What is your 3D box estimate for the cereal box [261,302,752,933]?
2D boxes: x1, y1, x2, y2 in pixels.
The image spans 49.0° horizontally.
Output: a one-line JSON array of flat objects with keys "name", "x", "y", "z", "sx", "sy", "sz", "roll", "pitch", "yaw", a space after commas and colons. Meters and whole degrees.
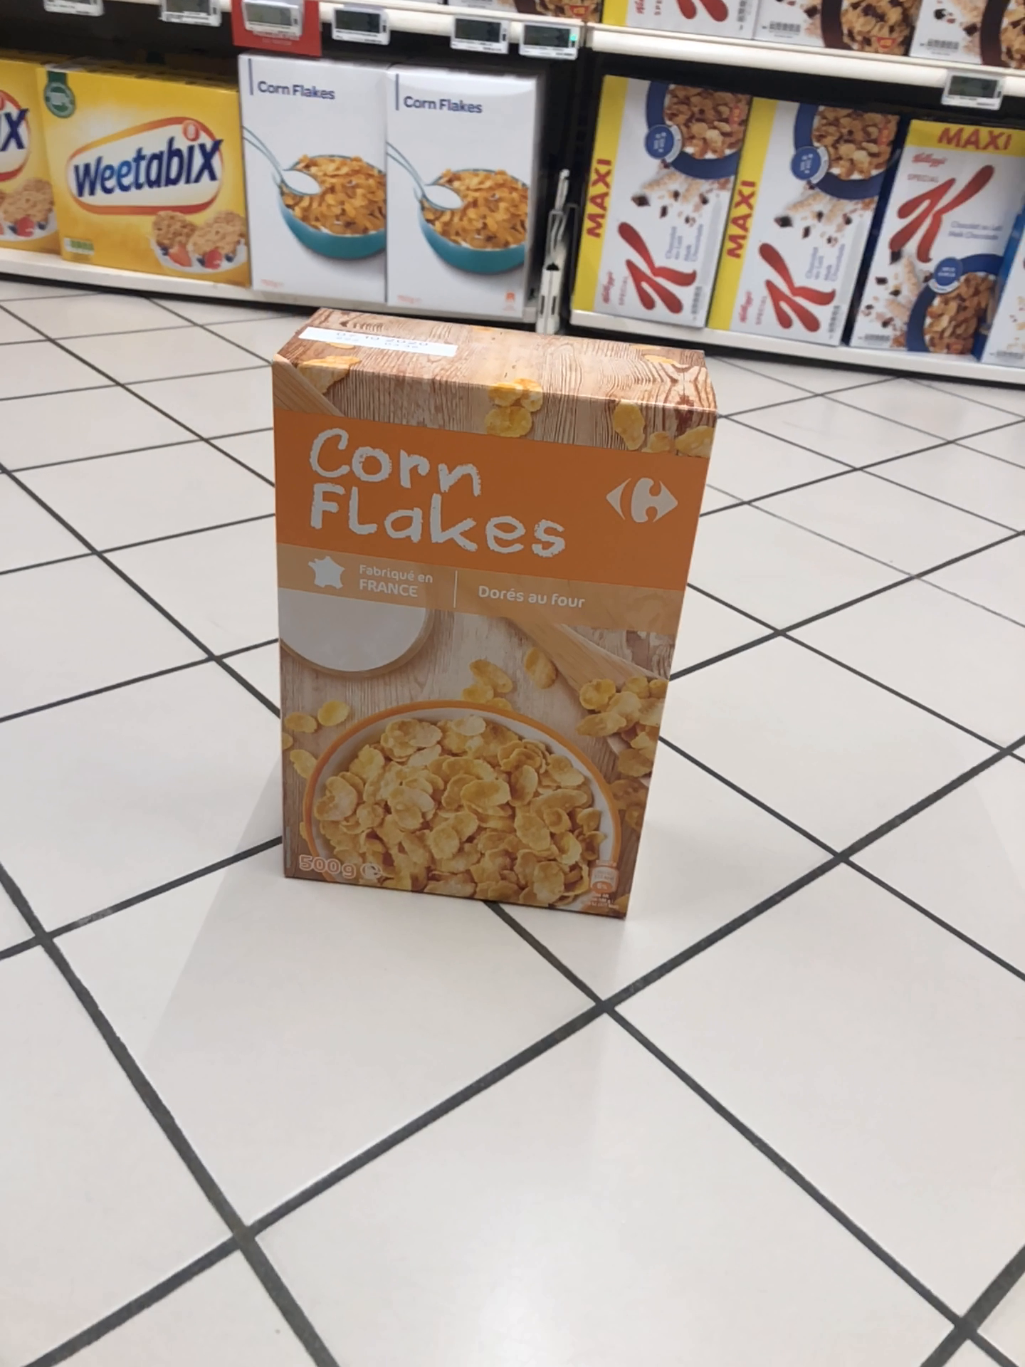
[{"name": "cereal box", "x": -0.011, "y": -0.028, "z": 0.572, "sx": 0.200, "sy": 0.278, "sz": 0.111, "roll": 7, "pitch": 30, "yaw": 1}]
